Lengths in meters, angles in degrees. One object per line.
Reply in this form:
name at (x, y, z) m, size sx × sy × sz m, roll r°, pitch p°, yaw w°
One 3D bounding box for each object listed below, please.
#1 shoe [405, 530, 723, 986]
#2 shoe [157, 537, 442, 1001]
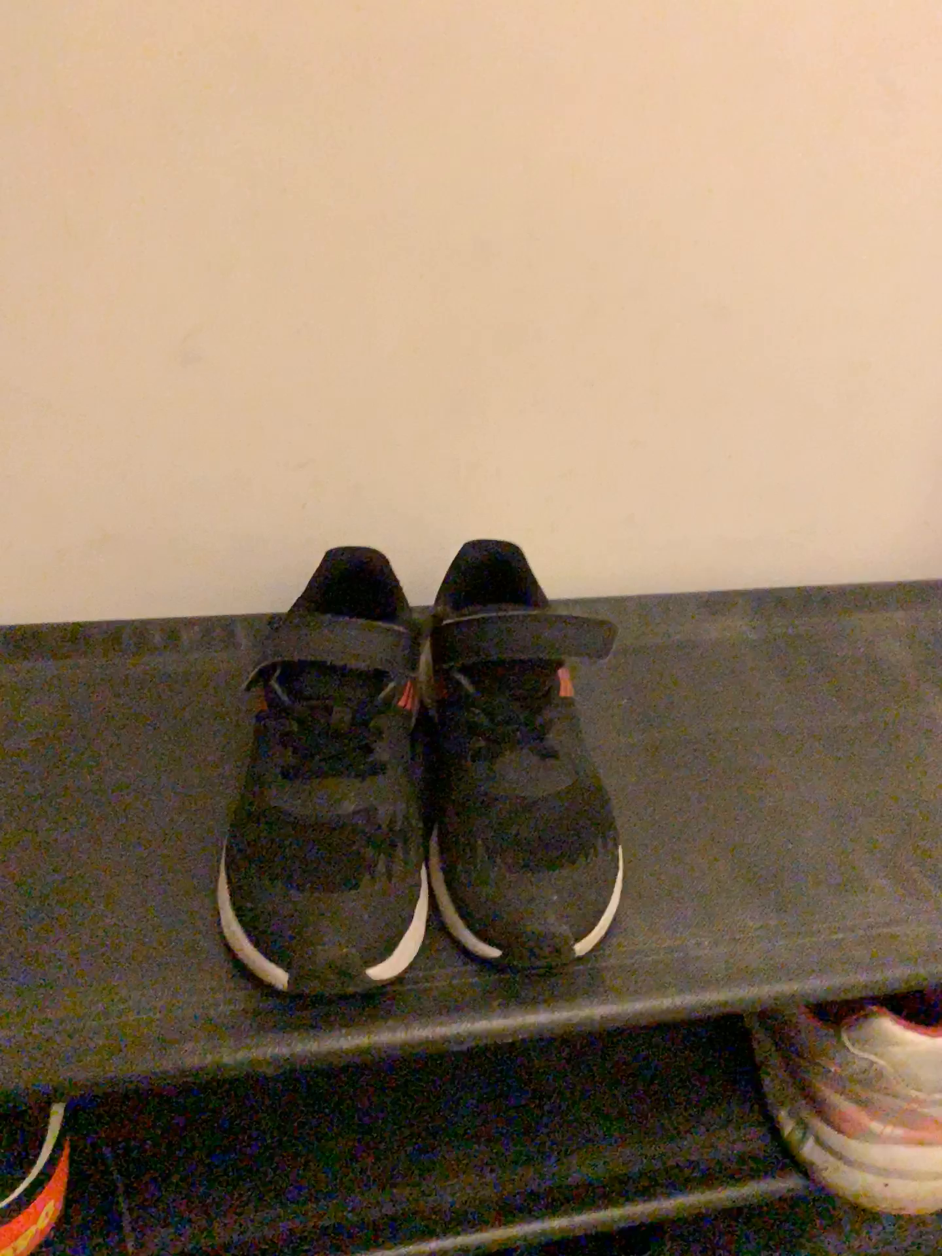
shoe at (0.024, 0.041, 0.420) m, size 0.090 × 0.079 × 0.202 m, roll -1°, pitch 34°, yaw -8°
shoe at (-0.064, 0.045, 0.414) m, size 0.090 × 0.079 × 0.202 m, roll 1°, pitch 34°, yaw -6°
